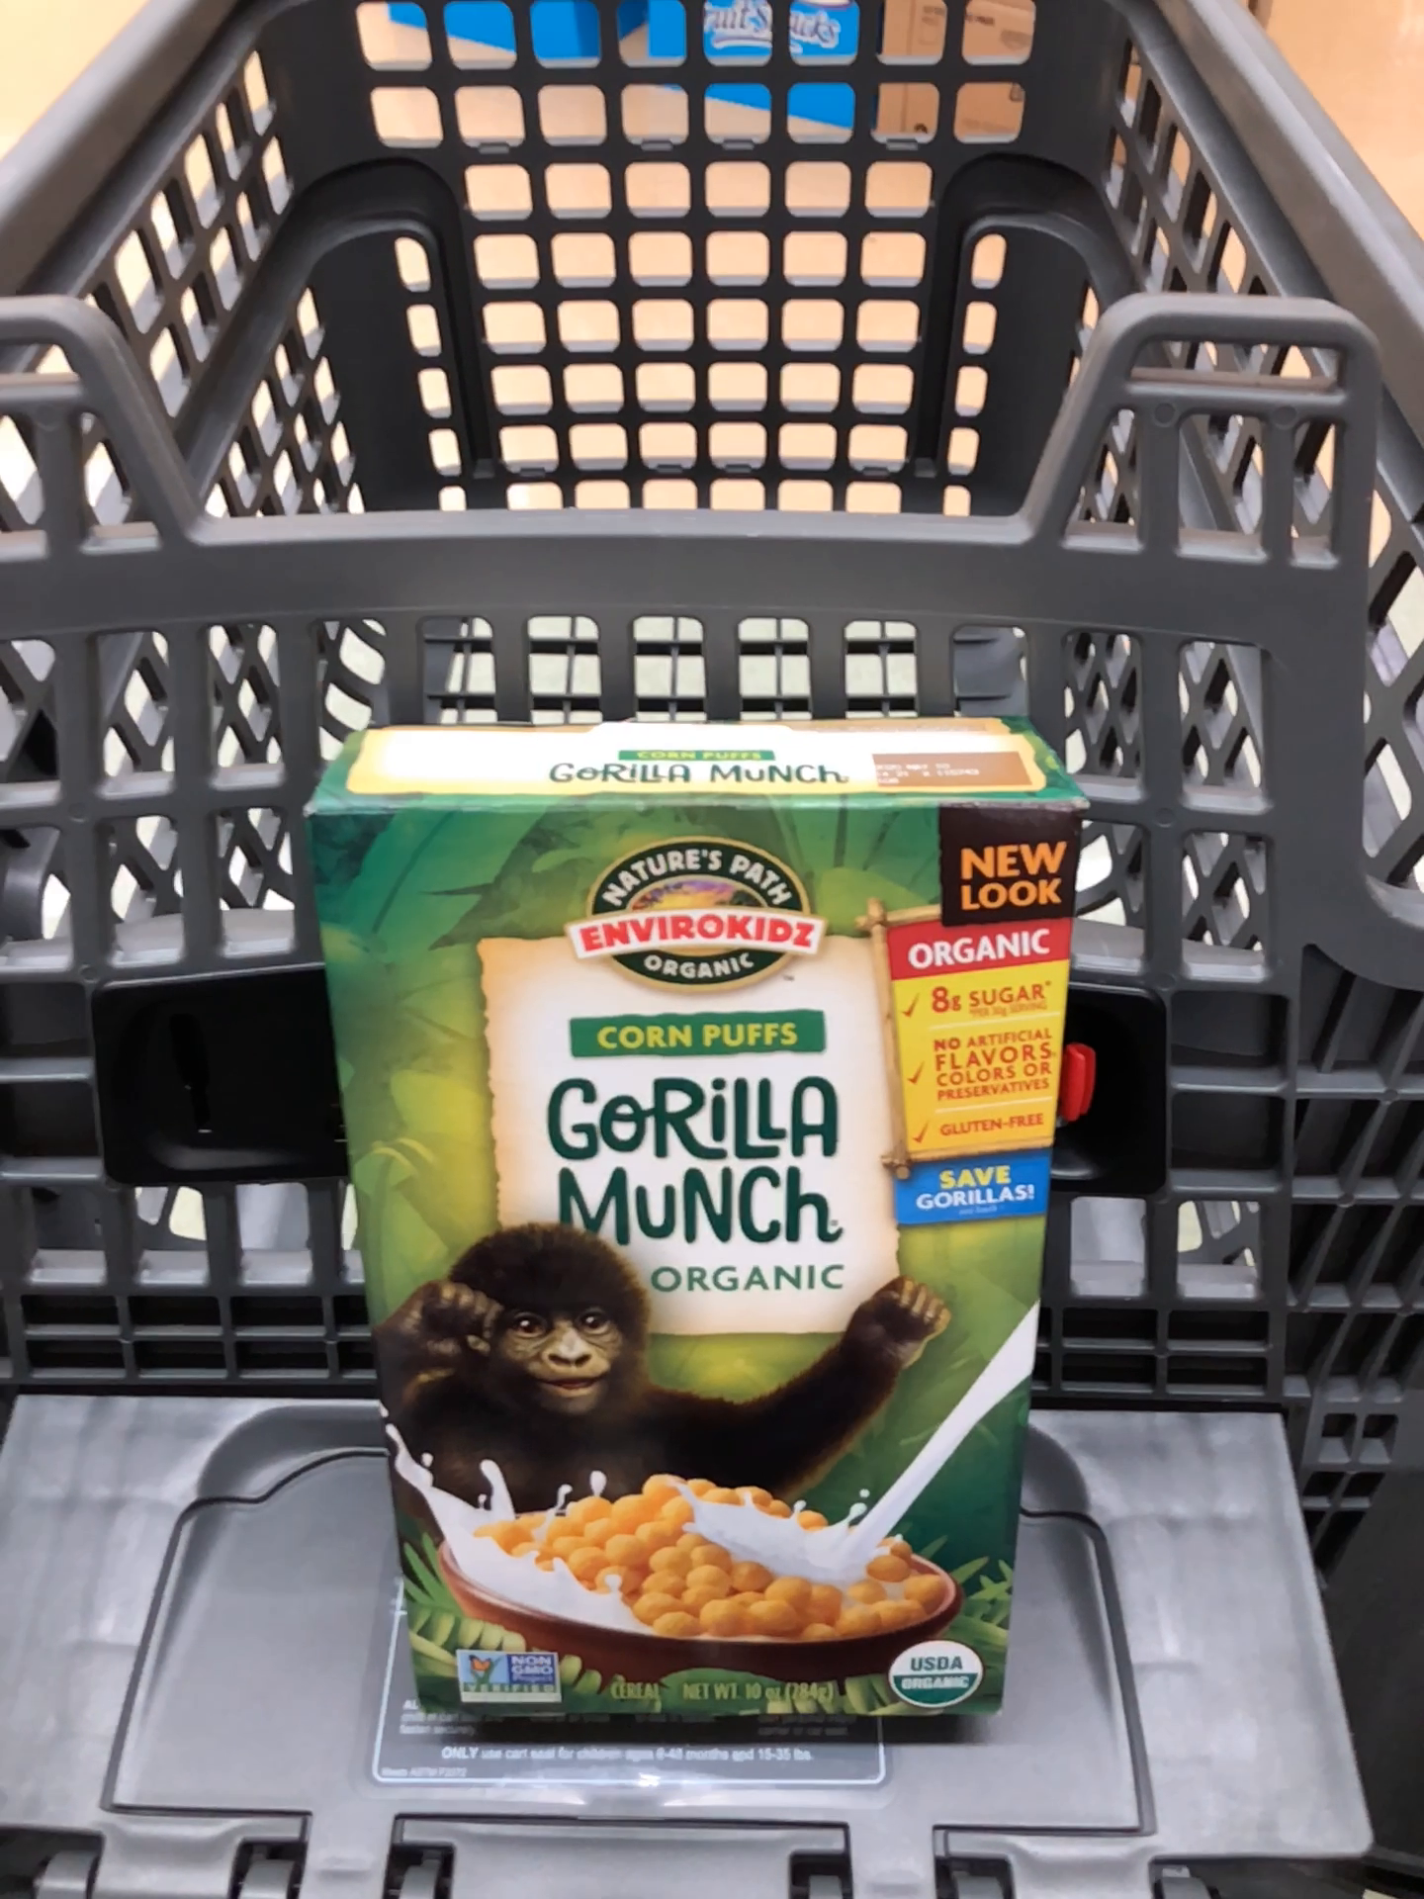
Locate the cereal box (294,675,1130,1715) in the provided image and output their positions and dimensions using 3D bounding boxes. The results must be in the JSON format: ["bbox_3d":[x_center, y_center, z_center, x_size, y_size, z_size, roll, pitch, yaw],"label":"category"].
[{"bbox_3d":[0.002,0.069,0.389,0.160,0.260,0.070,0,26,1],"label":"cereal box"}]
